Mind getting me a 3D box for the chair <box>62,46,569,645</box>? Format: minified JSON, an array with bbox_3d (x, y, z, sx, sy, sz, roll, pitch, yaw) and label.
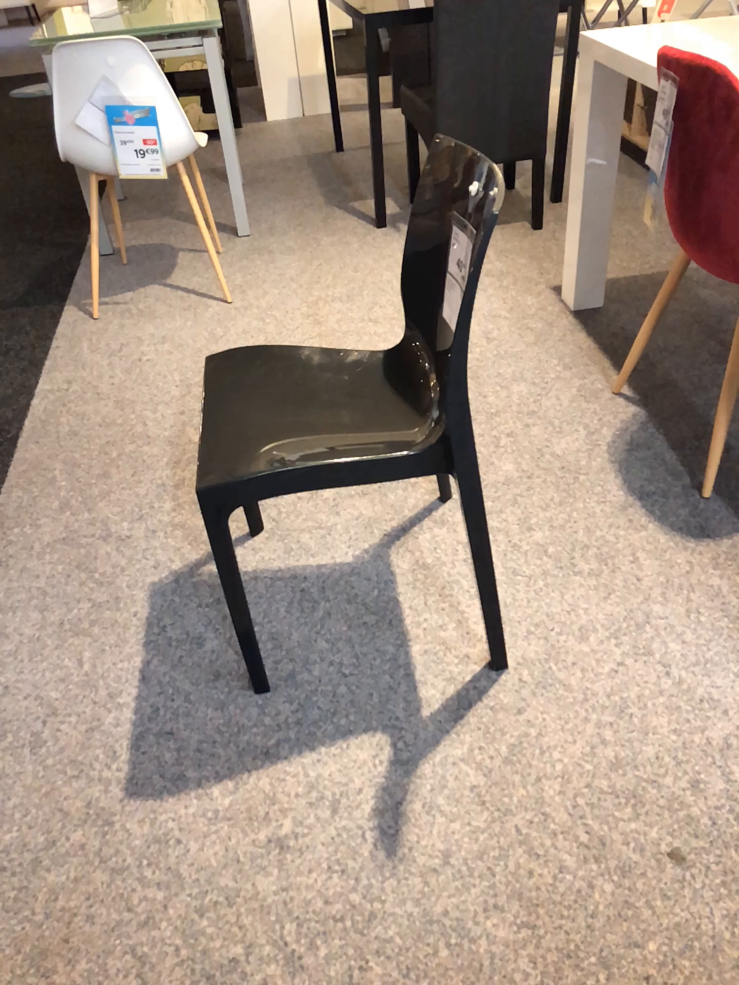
[{"bbox_3d":[-0.073,-0.237,1.344,0.570,0.765,0.523,-8,41,-5],"label":"chair"}]
